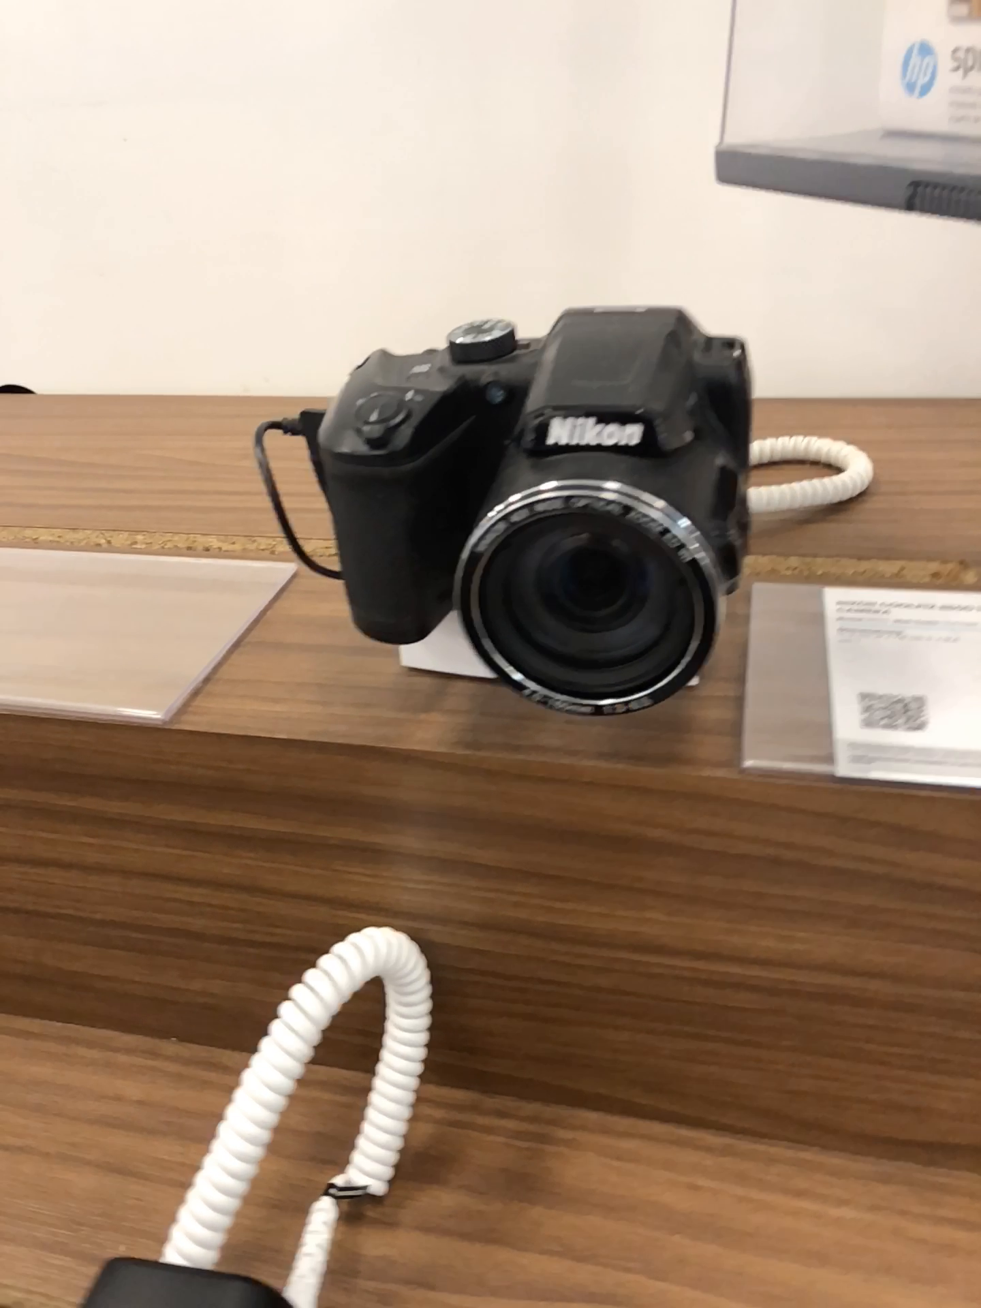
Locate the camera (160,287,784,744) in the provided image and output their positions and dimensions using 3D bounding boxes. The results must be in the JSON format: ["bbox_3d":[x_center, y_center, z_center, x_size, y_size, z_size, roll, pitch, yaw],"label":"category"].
[{"bbox_3d":[0.009,-0.047,0.292,0.130,0.070,0.131,3,31,13],"label":"camera"}]
